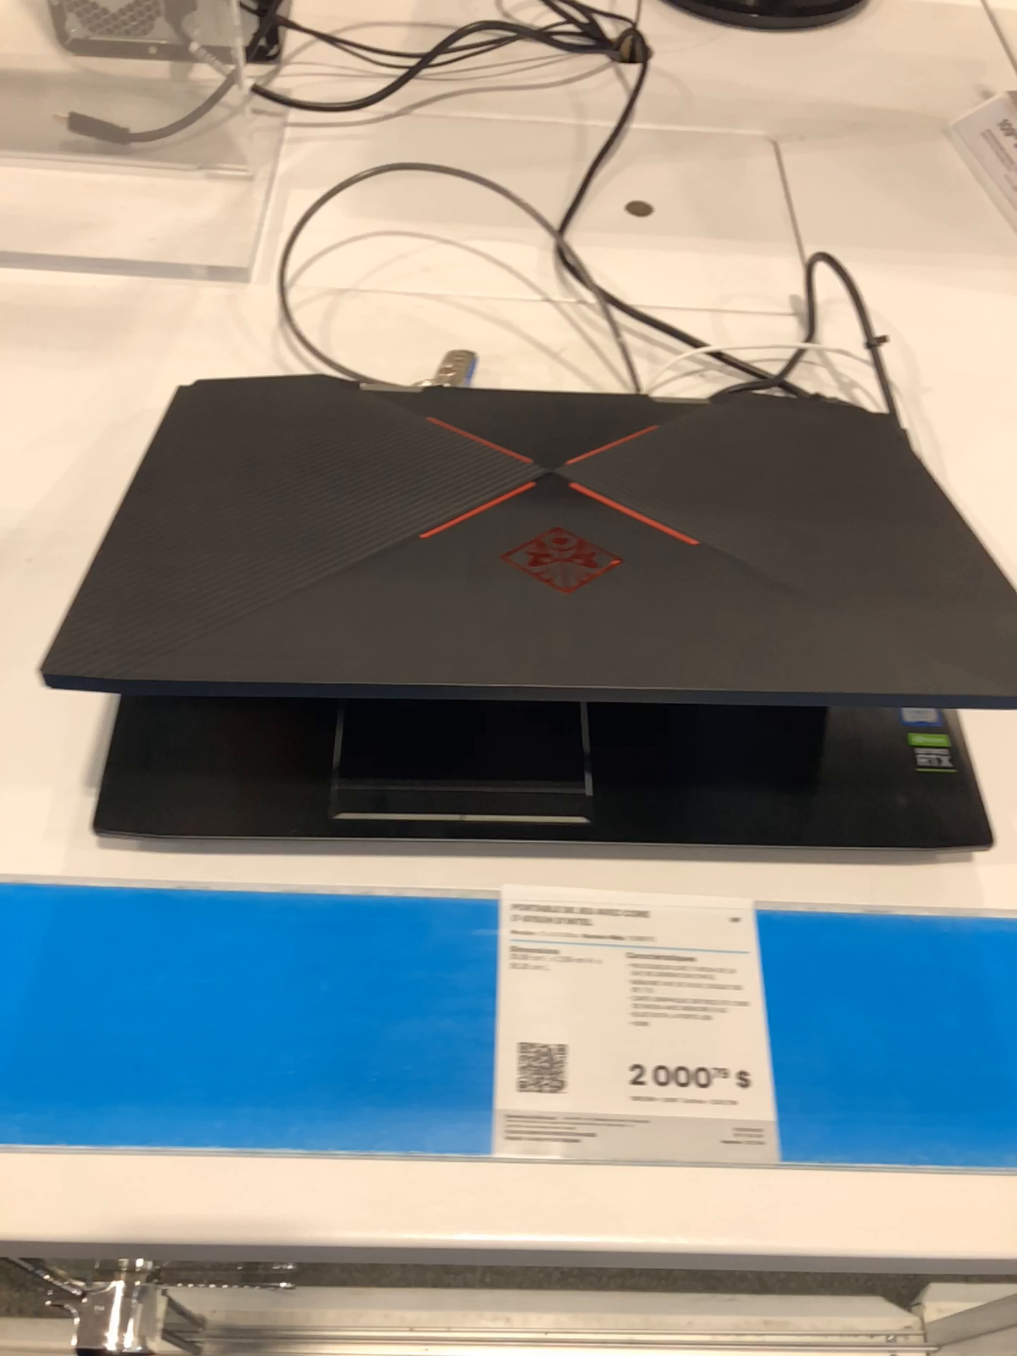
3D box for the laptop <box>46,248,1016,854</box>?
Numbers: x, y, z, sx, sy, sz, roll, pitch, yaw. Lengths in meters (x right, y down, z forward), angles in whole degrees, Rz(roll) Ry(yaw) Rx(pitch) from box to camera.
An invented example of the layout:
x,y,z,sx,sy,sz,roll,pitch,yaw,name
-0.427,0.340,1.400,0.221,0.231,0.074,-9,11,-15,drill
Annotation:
x,y,z,sx,sy,sz,roll,pitch,yaw,name
0.022,-0.059,0.465,0.346,0.085,0.235,2,55,-3,laptop
